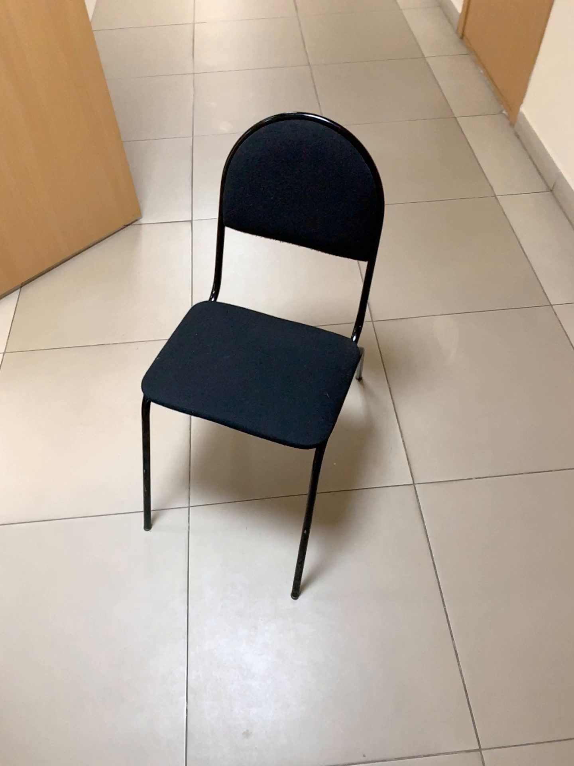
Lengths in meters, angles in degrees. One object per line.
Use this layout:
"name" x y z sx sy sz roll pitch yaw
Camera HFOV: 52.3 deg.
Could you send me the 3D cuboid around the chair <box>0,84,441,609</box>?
"chair" -0.060 -0.056 1.259 0.481 0.774 0.694 17 54 14
